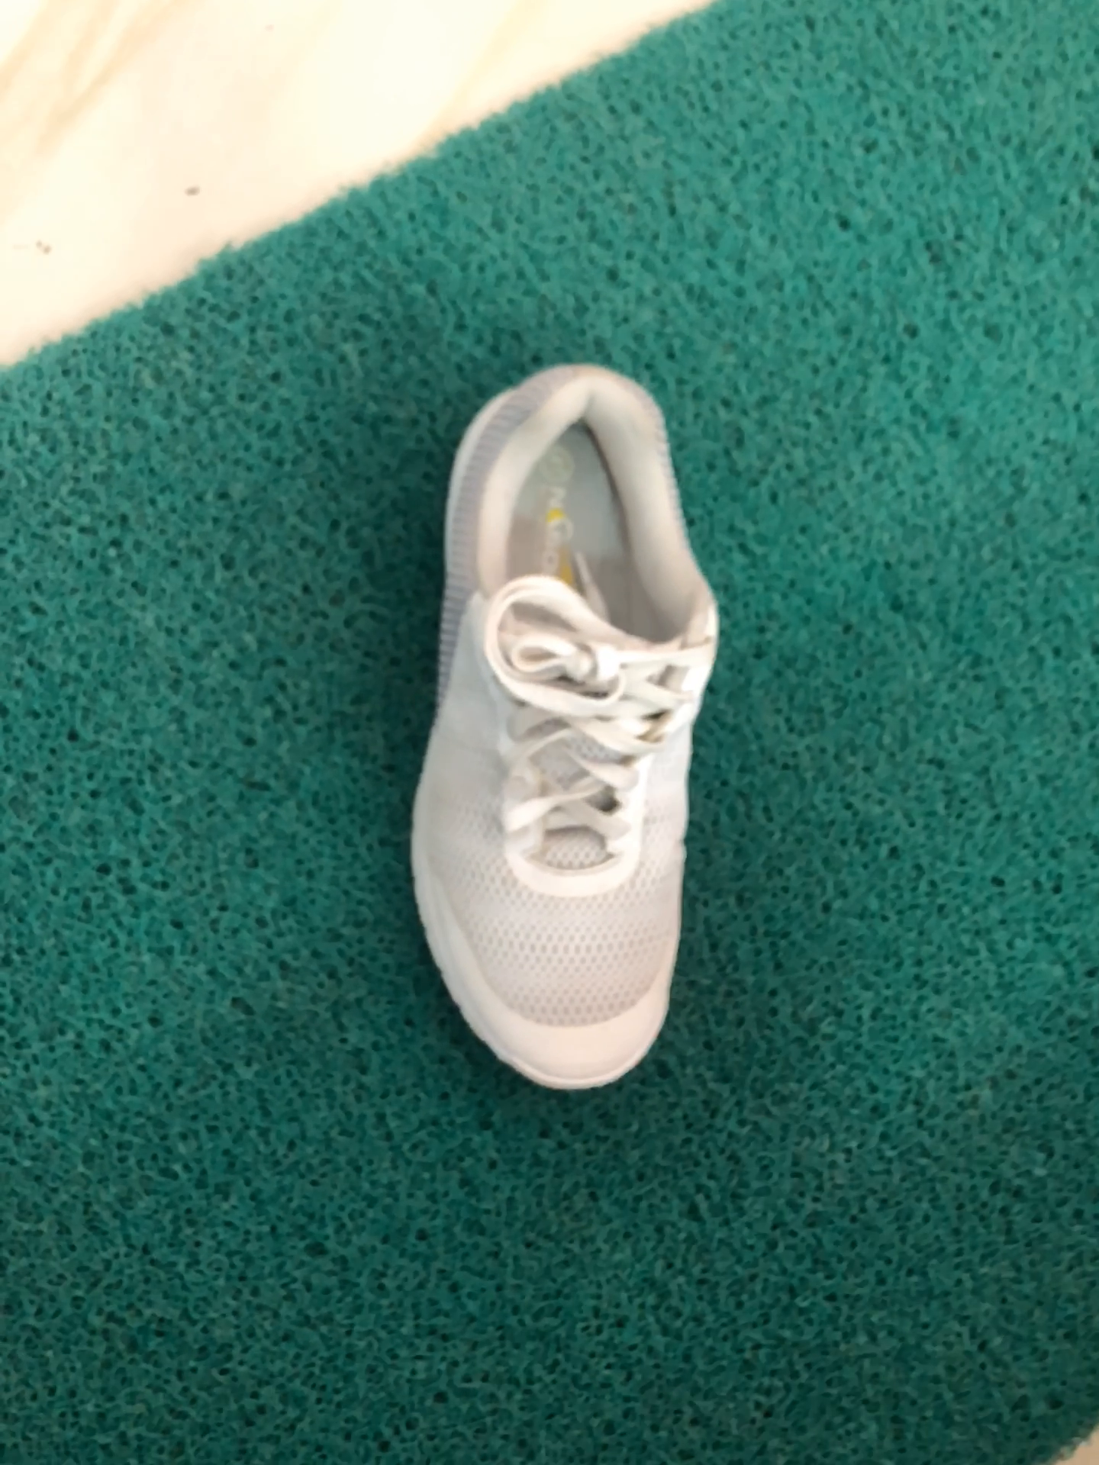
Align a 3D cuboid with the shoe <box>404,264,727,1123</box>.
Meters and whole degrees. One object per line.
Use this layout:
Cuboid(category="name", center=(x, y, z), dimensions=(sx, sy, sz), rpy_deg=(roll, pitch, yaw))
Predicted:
Cuboid(category="shoe", center=(0.002, -0.011, 0.468), dimensions=(0.100, 0.100, 0.290), rpy_deg=(3, 84, -7))
